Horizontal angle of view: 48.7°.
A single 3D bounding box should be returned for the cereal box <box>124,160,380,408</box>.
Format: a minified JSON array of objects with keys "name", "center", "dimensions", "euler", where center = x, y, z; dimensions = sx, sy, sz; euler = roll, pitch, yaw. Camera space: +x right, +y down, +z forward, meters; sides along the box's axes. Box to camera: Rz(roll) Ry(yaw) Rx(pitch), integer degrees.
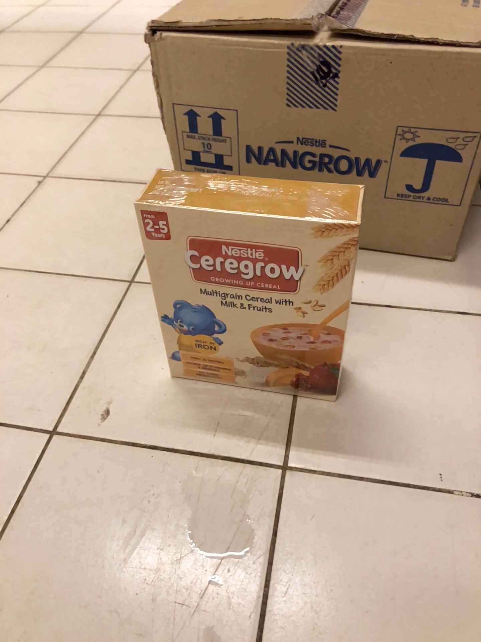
[{"name":"cereal box","center":[0.013,-0.021,0.414],"dimensions":[0.160,0.189,0.050],"euler":[7,46,11]}]
